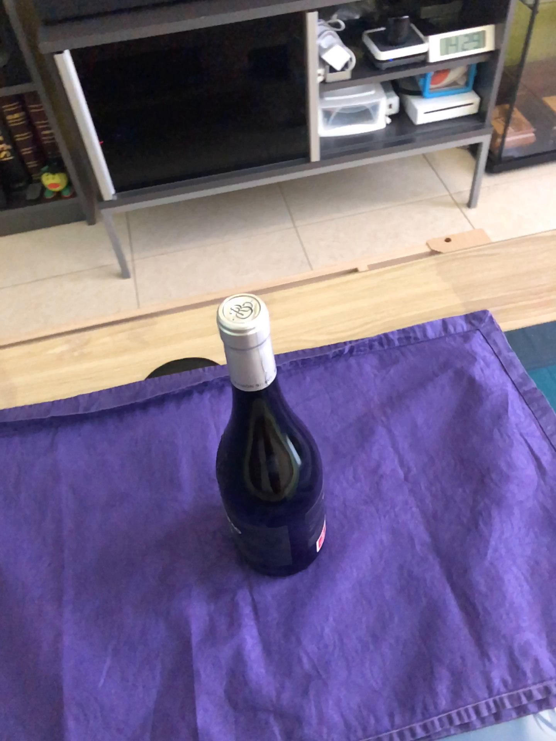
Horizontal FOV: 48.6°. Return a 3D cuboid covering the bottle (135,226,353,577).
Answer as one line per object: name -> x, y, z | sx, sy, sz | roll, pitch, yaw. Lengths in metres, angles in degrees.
bottle -> -0.004, 0.041, 0.432 | 0.100, 0.269, 0.100 | -3, 51, 3
